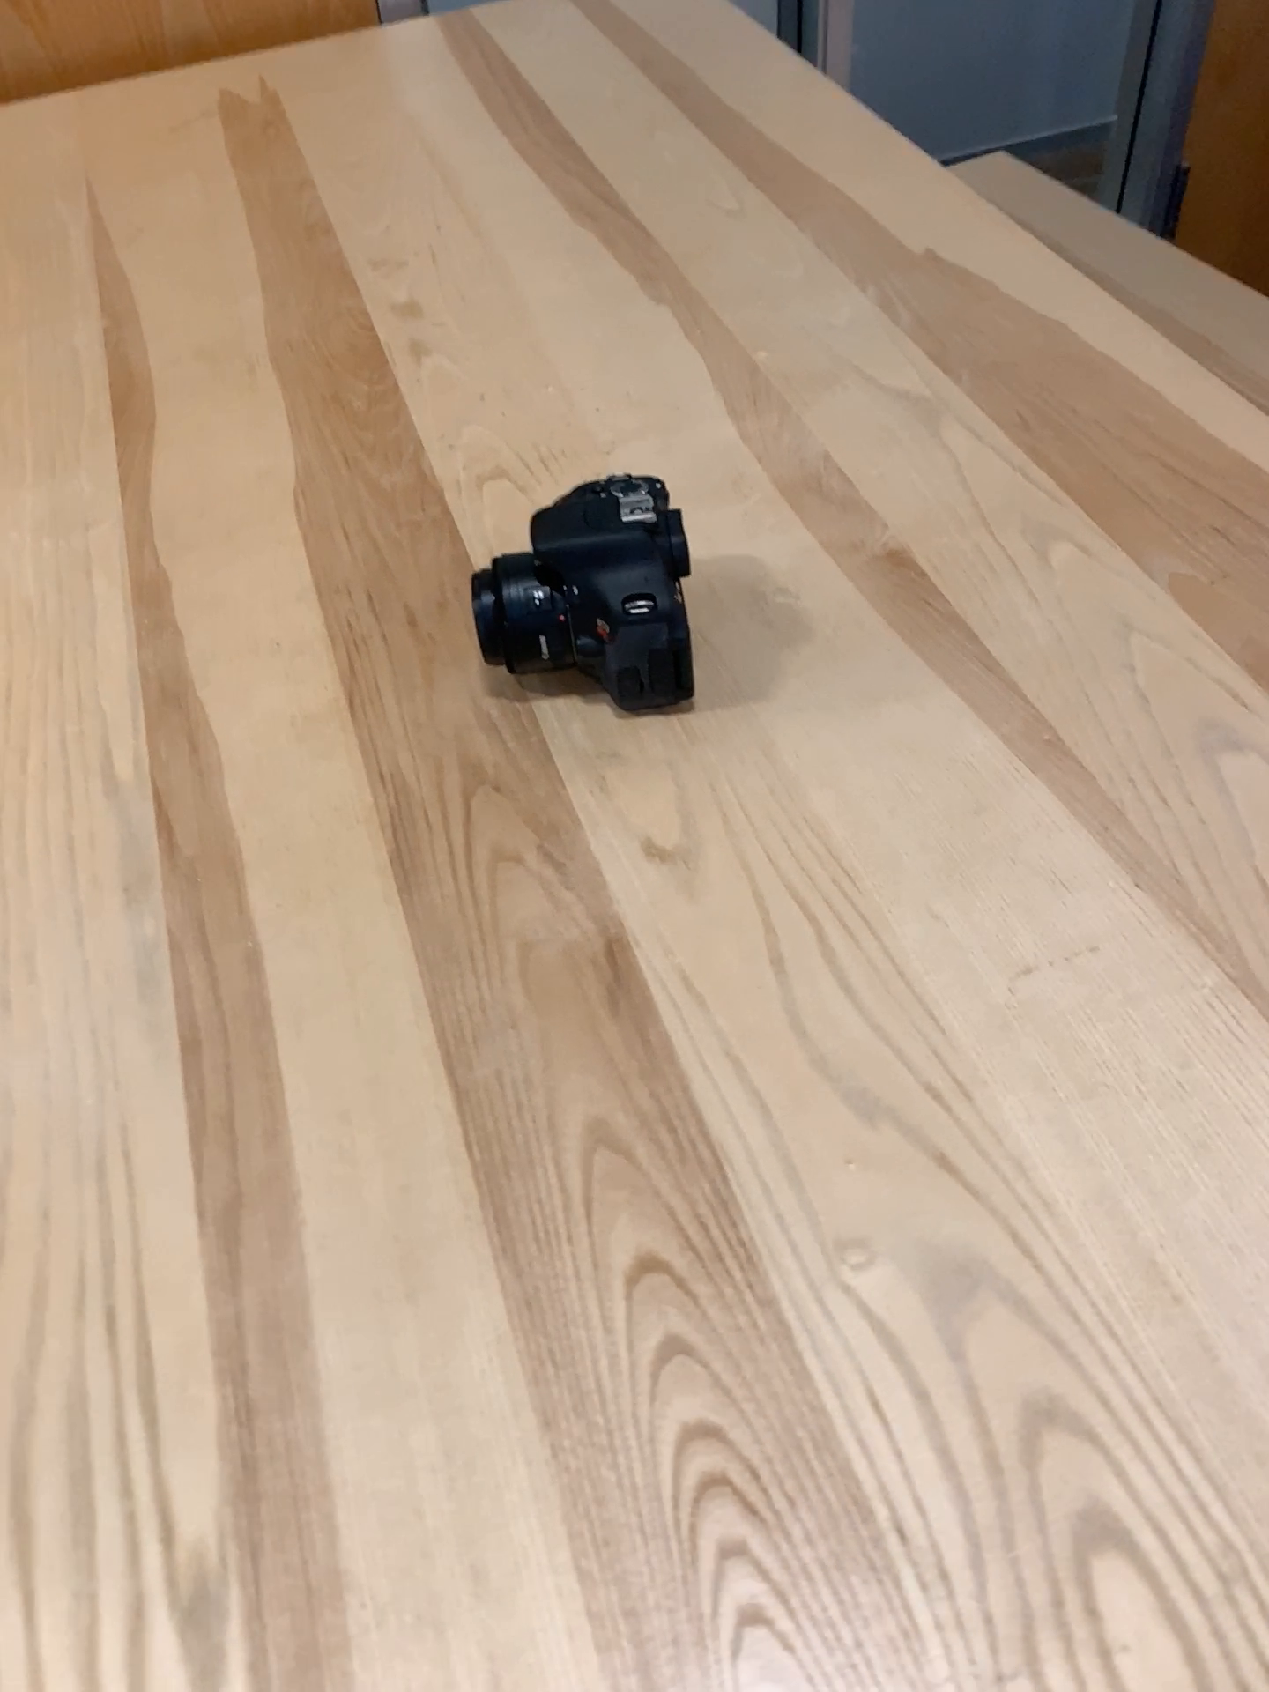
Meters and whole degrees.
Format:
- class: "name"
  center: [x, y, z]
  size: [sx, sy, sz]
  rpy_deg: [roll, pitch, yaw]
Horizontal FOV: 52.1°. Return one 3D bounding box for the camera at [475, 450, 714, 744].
- class: "camera"
  center: [-0.023, -0.142, 0.735]
  size: [0.116, 0.094, 0.123]
  rpy_deg: [-8, 48, -1]
